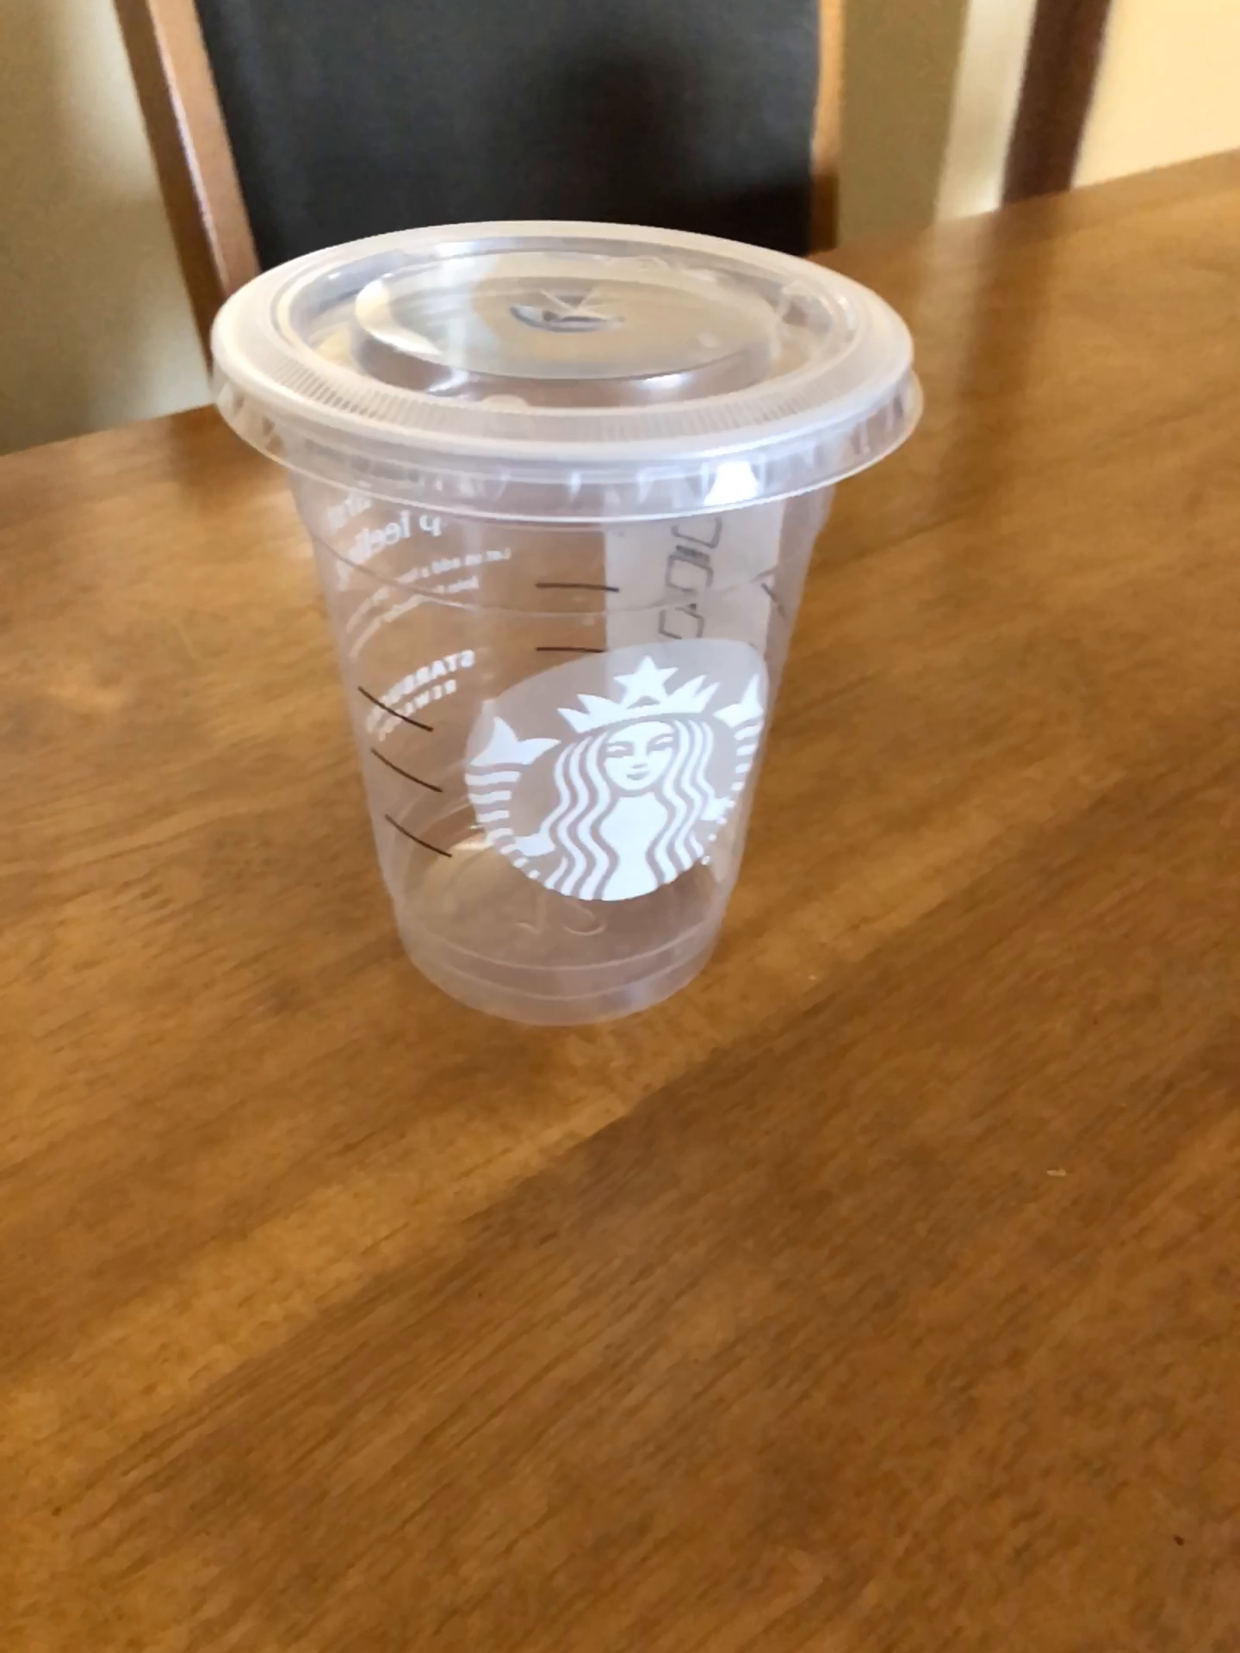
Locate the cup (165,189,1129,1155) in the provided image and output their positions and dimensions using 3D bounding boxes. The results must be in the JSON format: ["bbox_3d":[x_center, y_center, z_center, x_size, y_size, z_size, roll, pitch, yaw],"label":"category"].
[{"bbox_3d":[-0.005,-0.029,0.208,0.100,0.100,0.090,-10,39,-15],"label":"cup"}]
